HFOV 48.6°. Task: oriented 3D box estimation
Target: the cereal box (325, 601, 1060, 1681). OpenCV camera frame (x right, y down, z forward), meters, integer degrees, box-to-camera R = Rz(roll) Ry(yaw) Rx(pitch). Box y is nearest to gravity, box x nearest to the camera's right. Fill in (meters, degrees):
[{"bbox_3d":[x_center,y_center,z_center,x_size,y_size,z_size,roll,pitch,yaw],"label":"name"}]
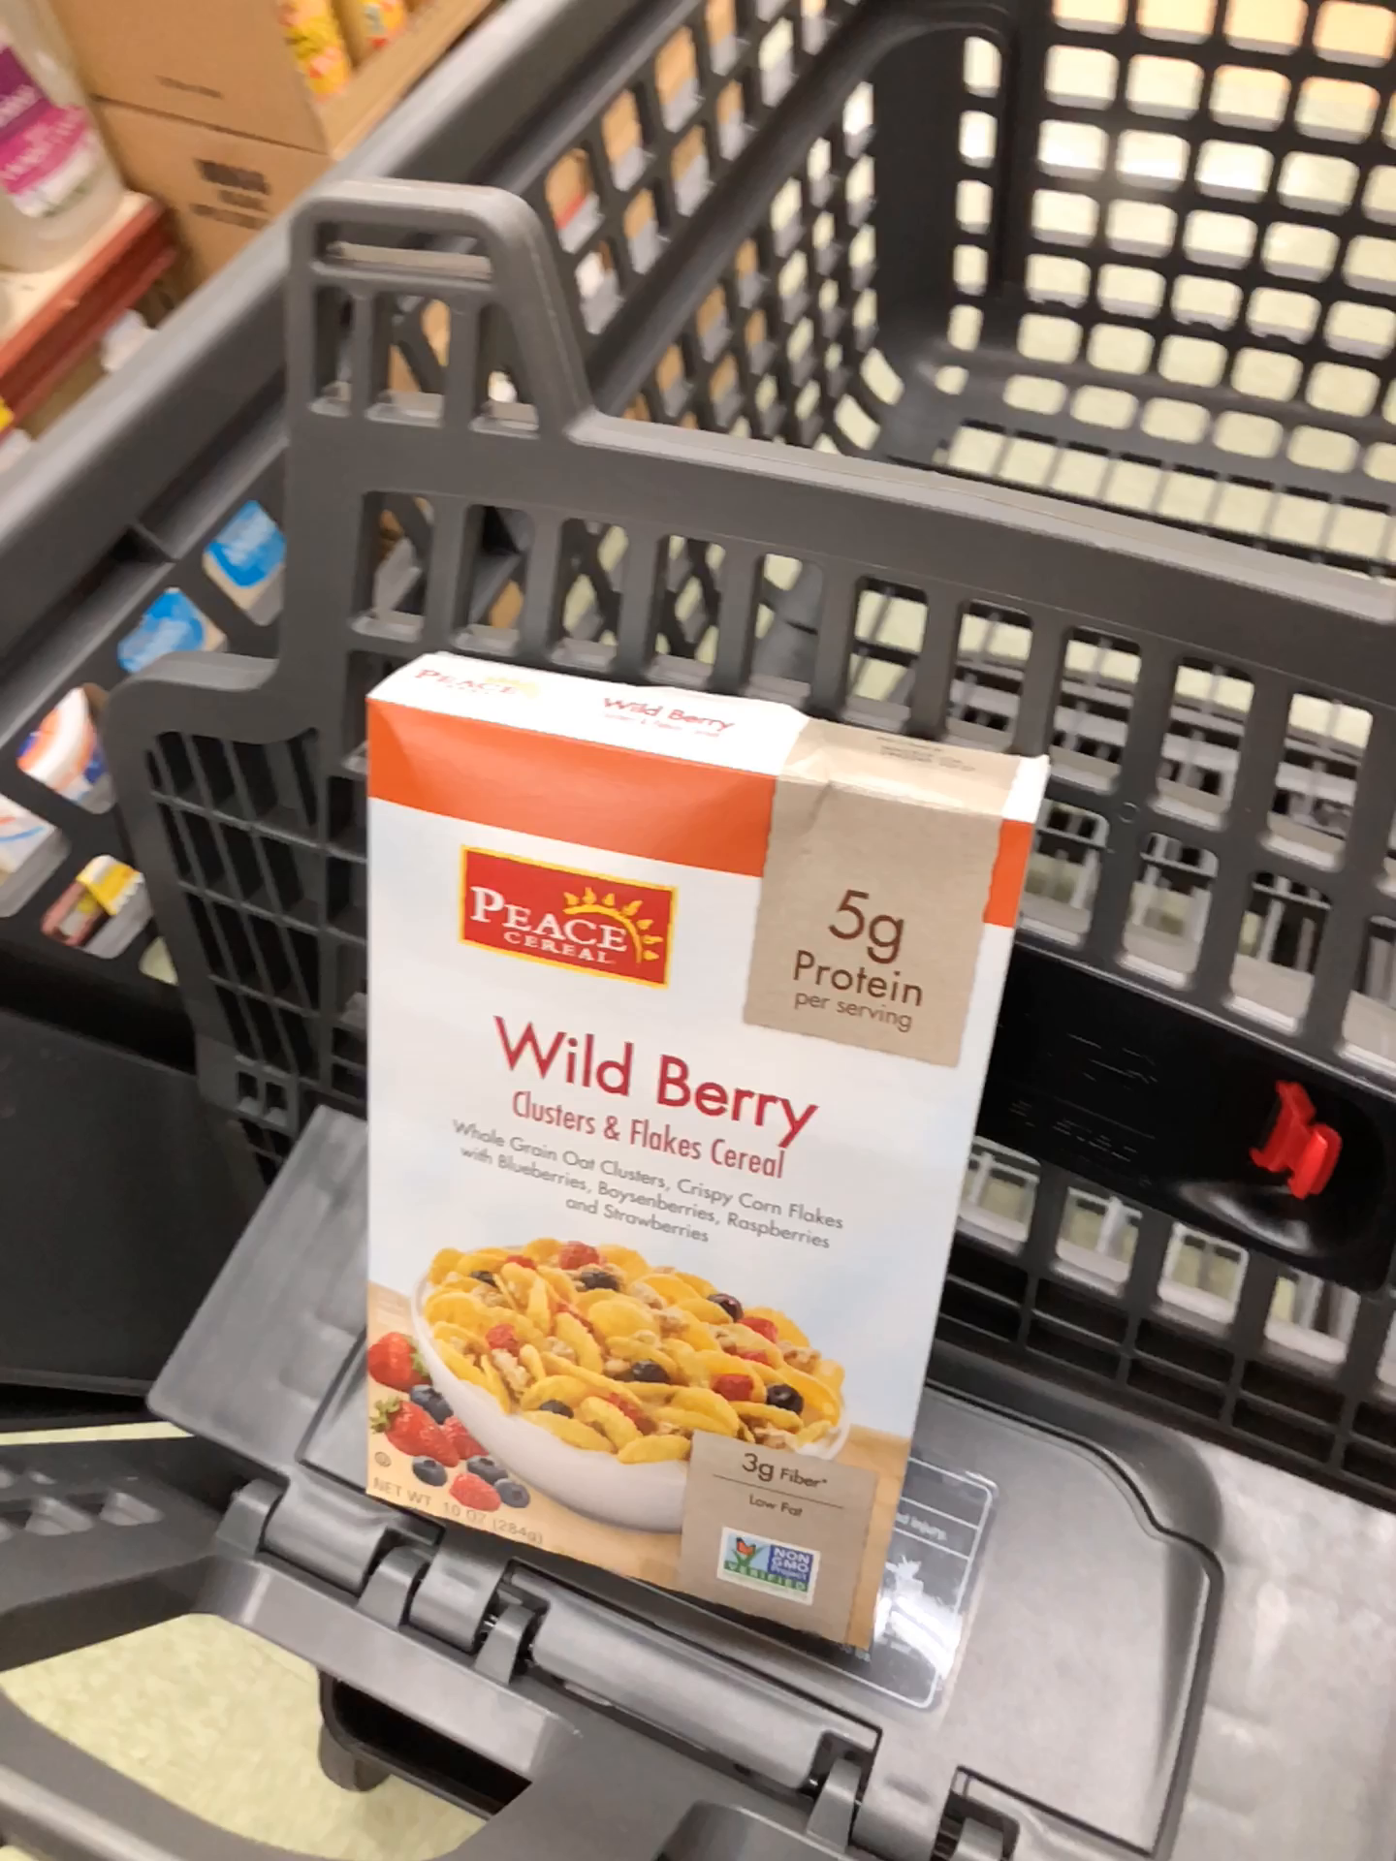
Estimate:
[{"bbox_3d":[-0.011,0.059,0.411,0.160,0.260,0.060,12,25,14],"label":"cereal box"}]
